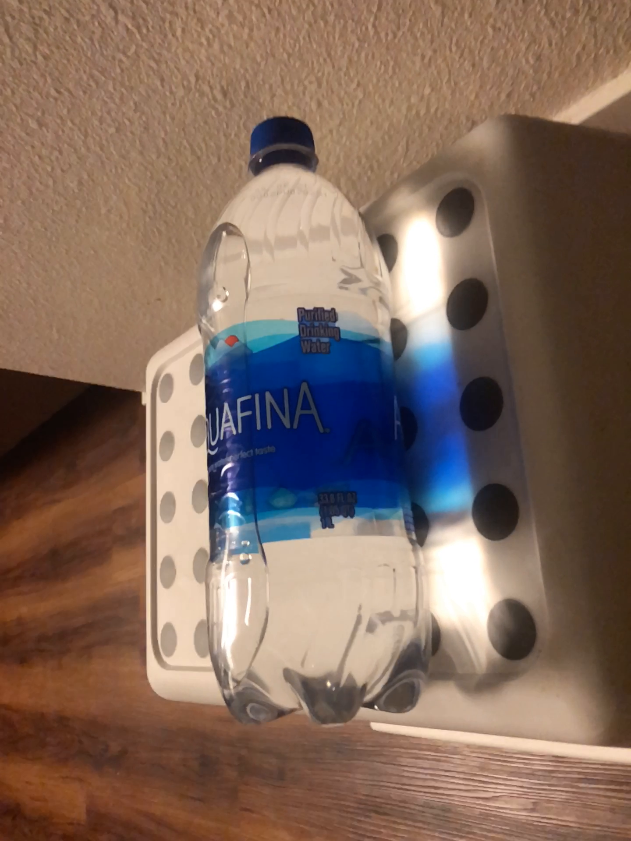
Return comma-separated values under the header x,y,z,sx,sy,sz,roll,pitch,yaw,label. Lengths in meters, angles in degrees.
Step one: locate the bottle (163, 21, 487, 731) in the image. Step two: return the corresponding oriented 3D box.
x,y,z,sx,sy,sz,roll,pitch,yaw,label
-0.003,-0.016,0.289,0.091,0.080,0.250,-21,66,48,bottle
